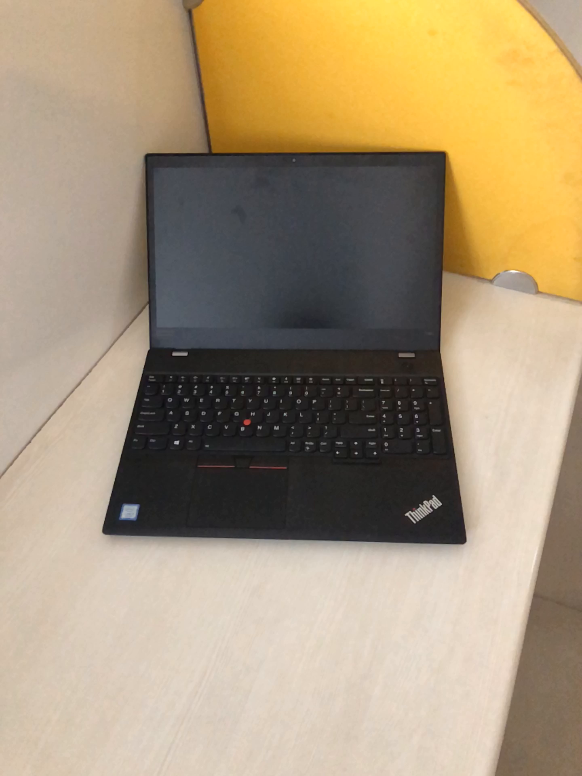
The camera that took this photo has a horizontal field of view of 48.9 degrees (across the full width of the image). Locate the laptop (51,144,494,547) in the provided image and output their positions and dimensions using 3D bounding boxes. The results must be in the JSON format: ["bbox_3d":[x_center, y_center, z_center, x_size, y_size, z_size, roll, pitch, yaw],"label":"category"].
[{"bbox_3d":[-0.008,-0.070,0.682,0.344,0.150,0.422,1,52,2],"label":"laptop"}]
